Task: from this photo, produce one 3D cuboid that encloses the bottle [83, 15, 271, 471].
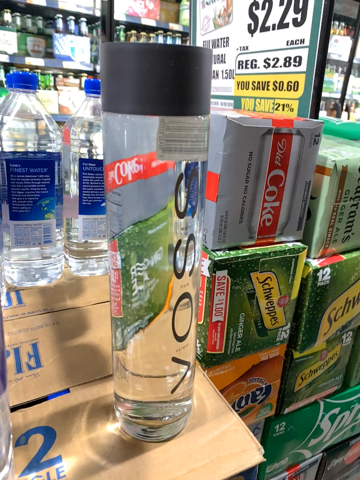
[{"bbox_3d":[-0.014,0.014,0.269,0.080,0.289,0.080,3,21,-1],"label":"bottle"}]
